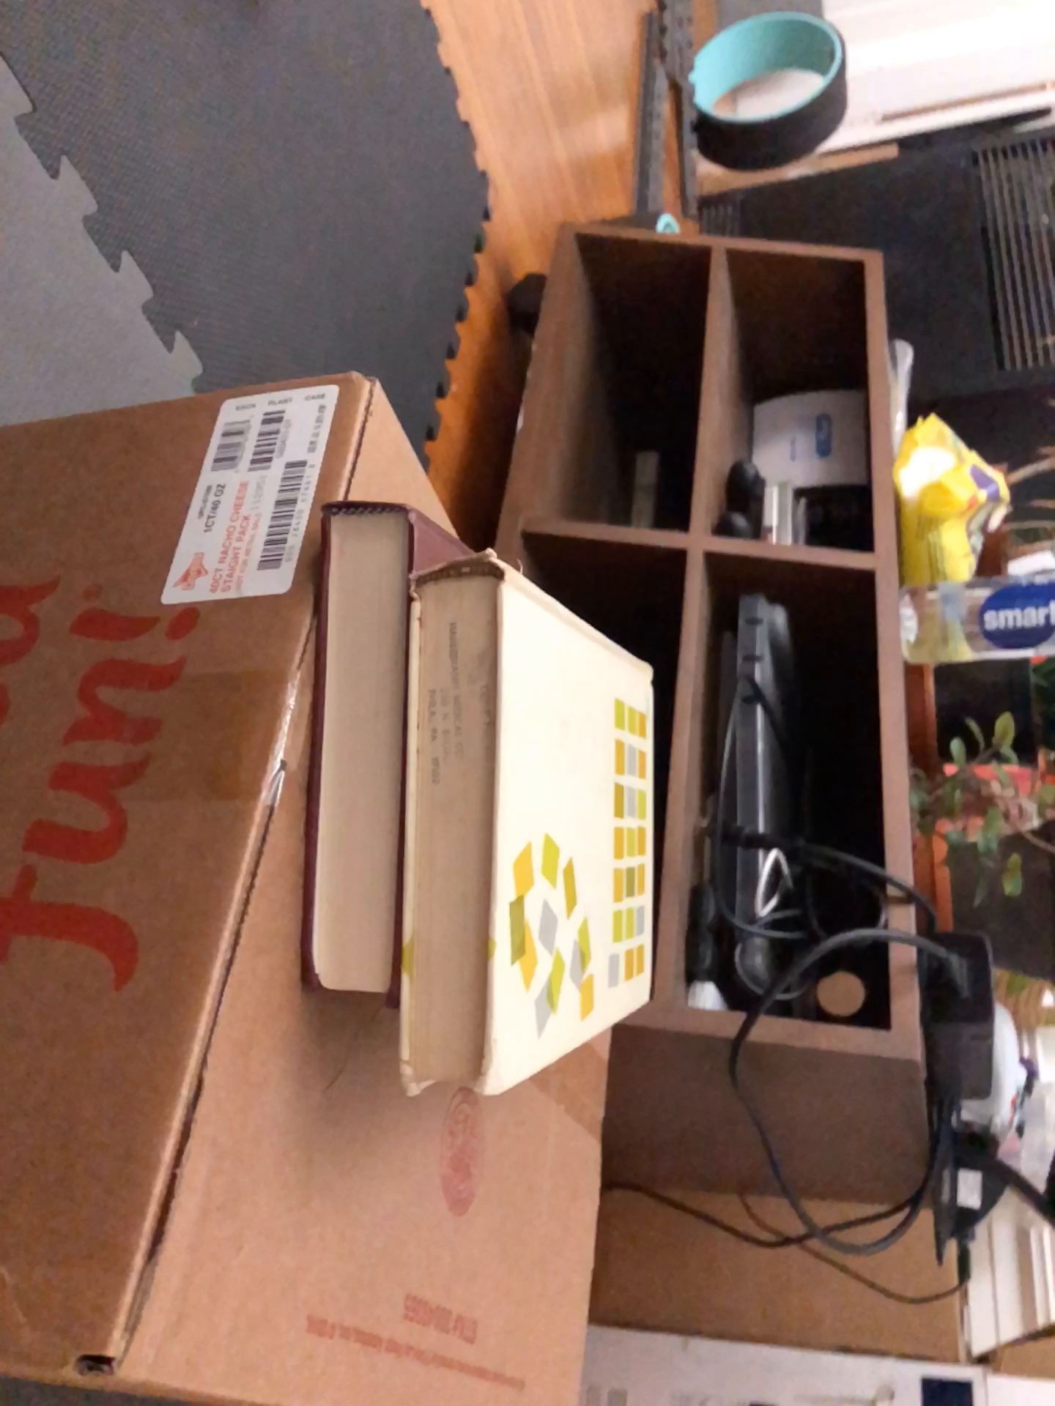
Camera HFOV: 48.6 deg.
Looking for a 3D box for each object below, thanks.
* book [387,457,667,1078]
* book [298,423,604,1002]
[{"bbox_3d":[0.012,0.030,0.464,0.251,0.040,0.180,21,67,-73],"label":"book"},{"bbox_3d":[-0.016,0.020,0.483,0.251,0.040,0.180,29,59,-71],"label":"book"}]
